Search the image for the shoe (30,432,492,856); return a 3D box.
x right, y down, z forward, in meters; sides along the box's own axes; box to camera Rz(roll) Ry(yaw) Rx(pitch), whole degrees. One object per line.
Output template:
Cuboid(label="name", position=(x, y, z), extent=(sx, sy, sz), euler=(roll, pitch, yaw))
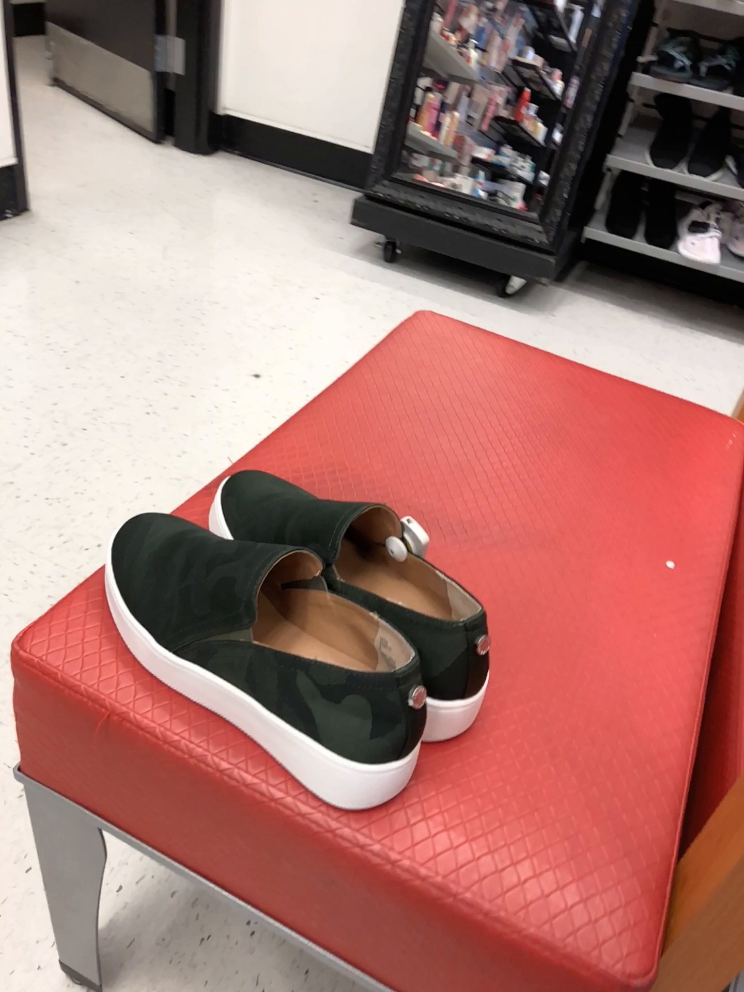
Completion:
Cuboid(label="shoe", position=(-0.079, 0.073, 0.506), extent=(0.277, 0.086, 0.105), euler=(31, 40, 26))

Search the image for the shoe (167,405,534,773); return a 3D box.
Cuboid(label="shoe", position=(-0.031, 0.047, 0.558), extent=(0.077, 0.086, 0.277), euler=(-23, 47, -38))
